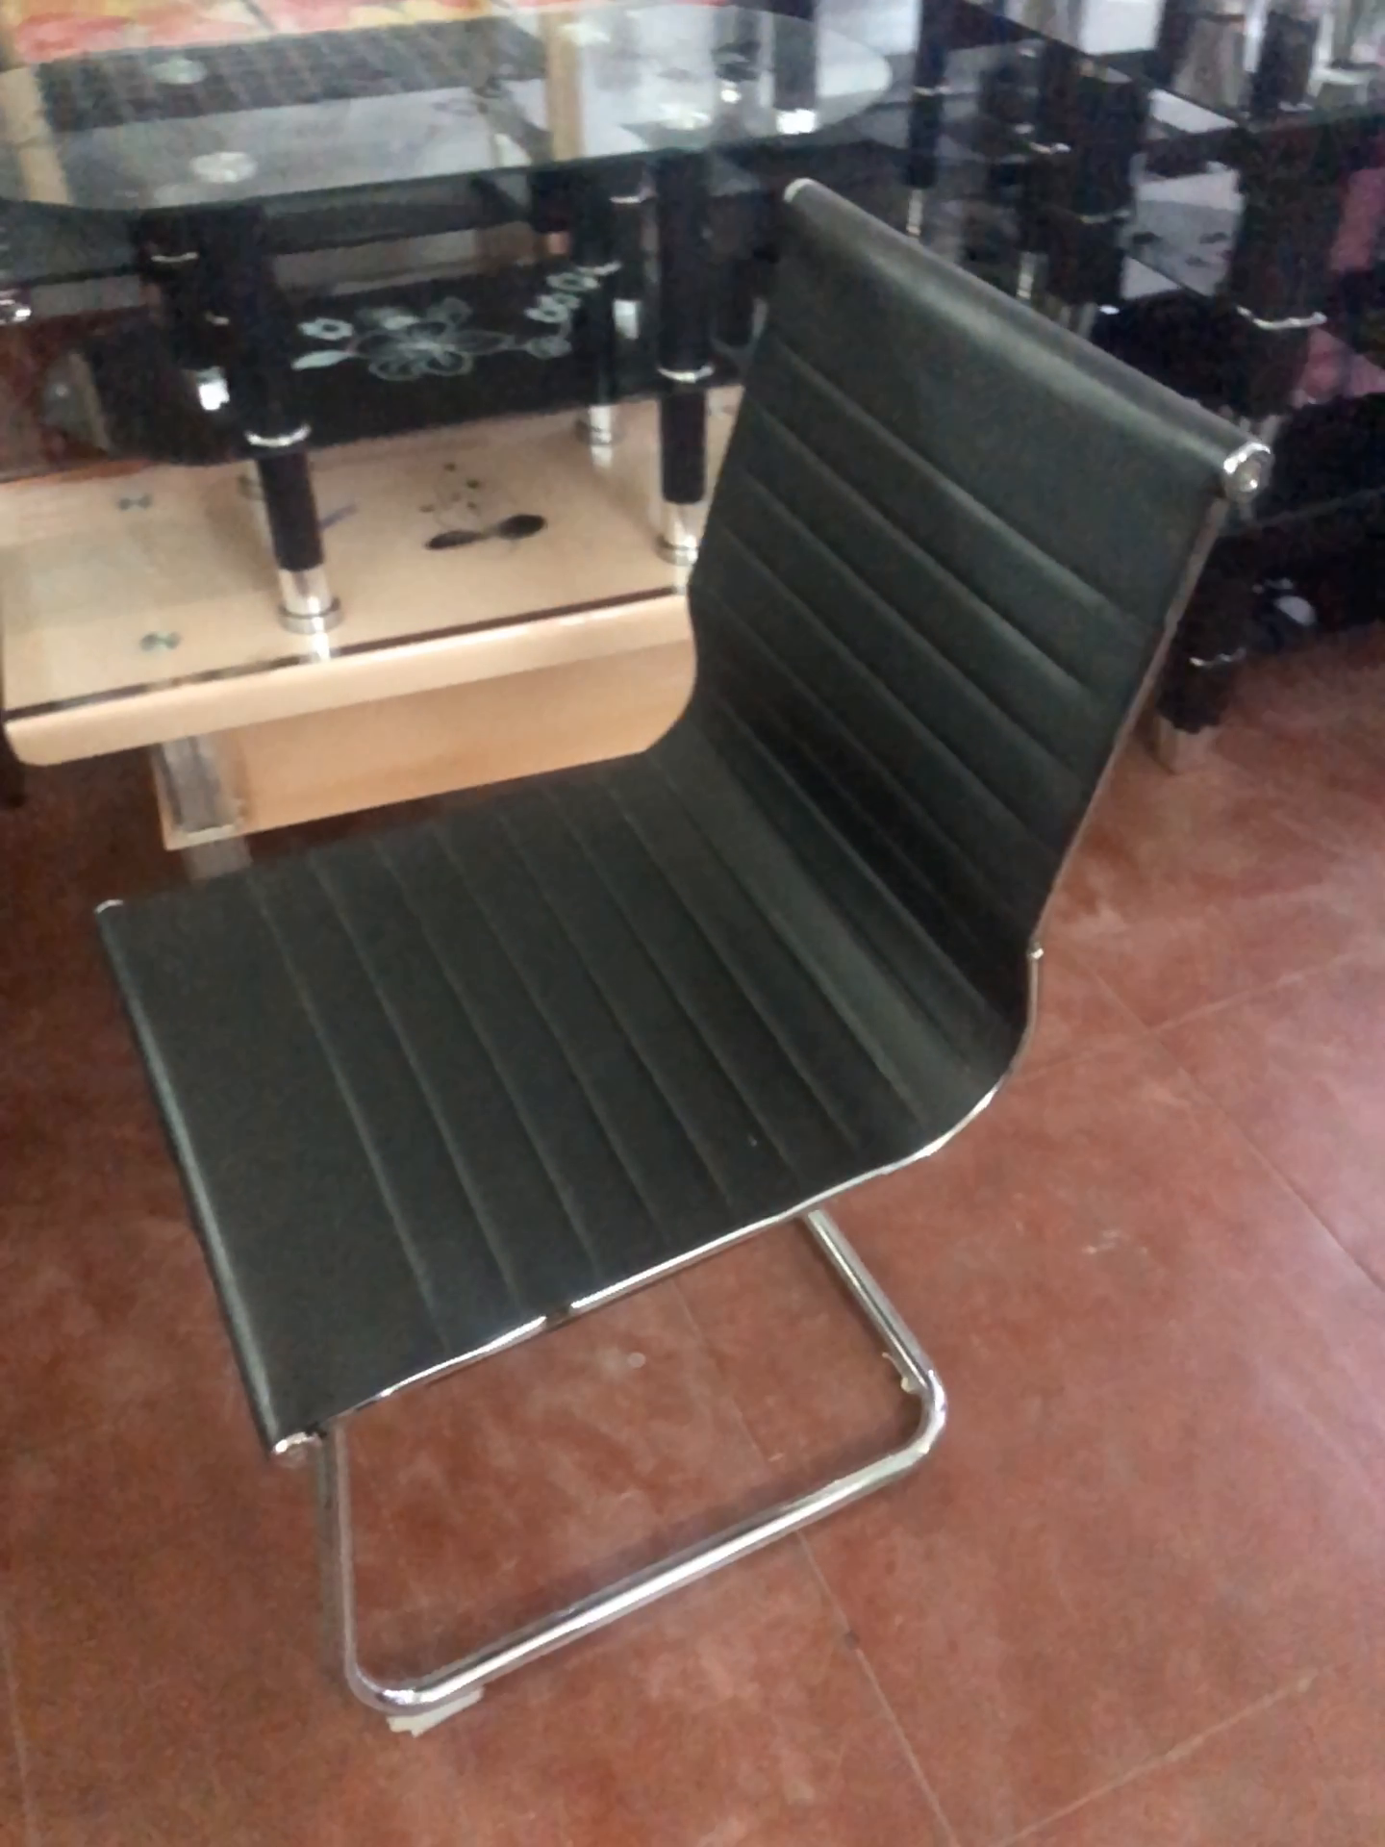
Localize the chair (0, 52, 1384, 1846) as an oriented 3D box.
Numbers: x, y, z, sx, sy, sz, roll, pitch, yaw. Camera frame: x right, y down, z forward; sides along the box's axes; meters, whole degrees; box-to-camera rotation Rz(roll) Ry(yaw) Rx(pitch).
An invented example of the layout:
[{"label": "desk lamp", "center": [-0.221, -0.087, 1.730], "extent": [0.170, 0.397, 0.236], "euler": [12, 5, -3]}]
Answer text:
[{"label": "chair", "center": [-0.091, 0.020, 0.989], "extent": [0.682, 0.856, 0.592], "euler": [-19, 45, -20]}]
